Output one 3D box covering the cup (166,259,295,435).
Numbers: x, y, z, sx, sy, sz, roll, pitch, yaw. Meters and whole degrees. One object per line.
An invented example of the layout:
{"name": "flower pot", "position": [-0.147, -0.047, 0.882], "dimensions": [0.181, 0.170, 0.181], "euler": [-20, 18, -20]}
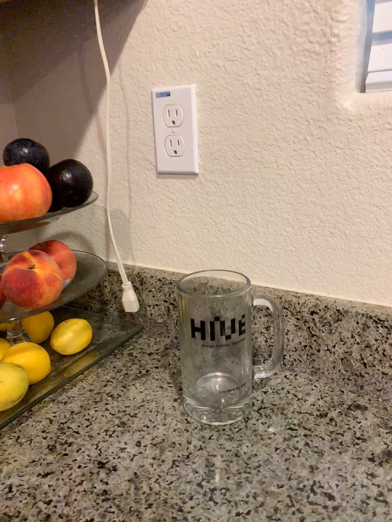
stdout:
{"name": "cup", "position": [0.035, 0.092, 0.450], "dimensions": [0.120, 0.159, 0.080], "euler": [-5, 17, -9]}
